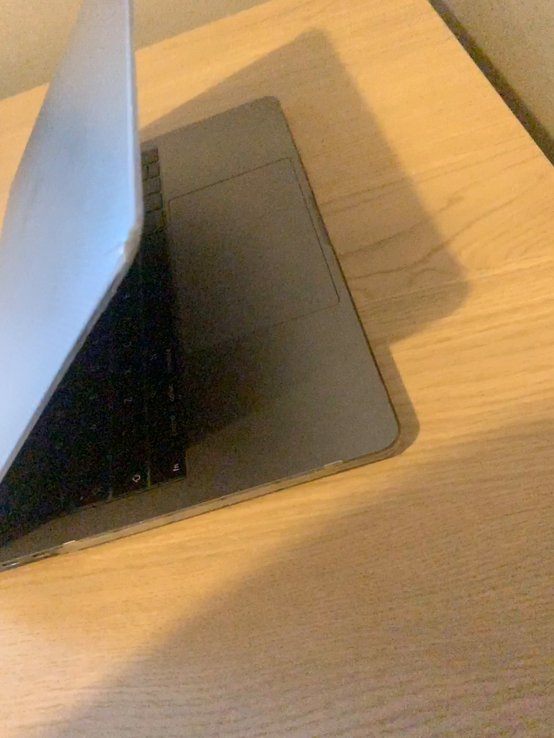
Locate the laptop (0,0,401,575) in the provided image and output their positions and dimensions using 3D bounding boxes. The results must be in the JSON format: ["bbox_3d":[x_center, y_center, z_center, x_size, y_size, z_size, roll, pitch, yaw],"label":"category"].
[{"bbox_3d":[-0.092,-0.095,0.292,0.207,0.127,0.310,-17,51,4],"label":"laptop"}]
